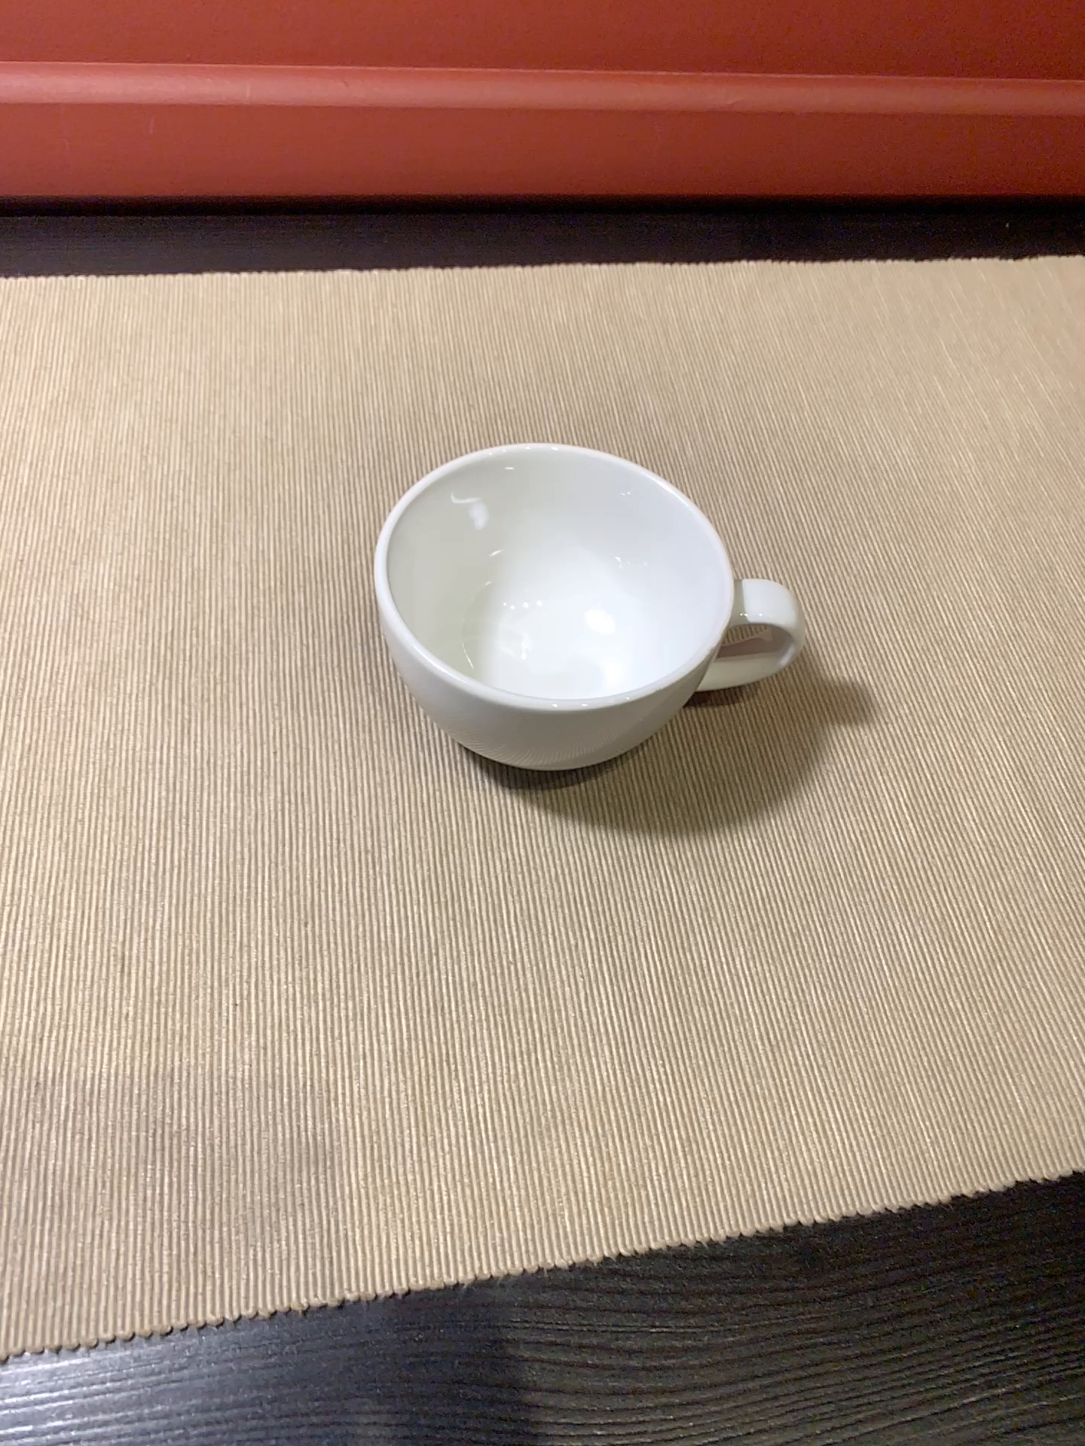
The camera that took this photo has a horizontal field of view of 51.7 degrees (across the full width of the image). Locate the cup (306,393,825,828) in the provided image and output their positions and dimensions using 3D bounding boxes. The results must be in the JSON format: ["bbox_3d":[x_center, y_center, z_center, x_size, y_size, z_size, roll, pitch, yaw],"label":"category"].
[{"bbox_3d":[0.003,-0.029,0.288,0.110,0.060,0.090,2,52,-4],"label":"cup"}]
